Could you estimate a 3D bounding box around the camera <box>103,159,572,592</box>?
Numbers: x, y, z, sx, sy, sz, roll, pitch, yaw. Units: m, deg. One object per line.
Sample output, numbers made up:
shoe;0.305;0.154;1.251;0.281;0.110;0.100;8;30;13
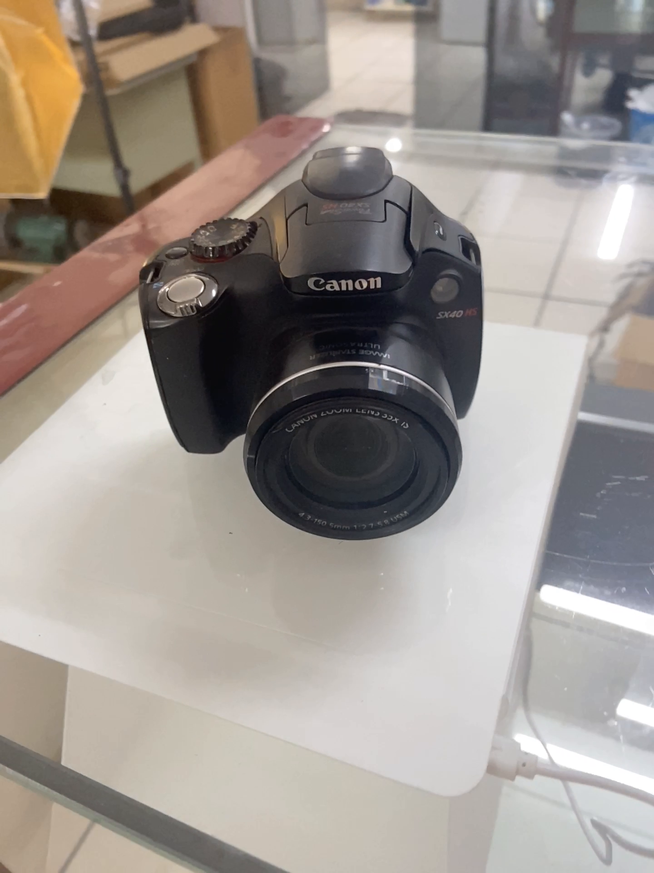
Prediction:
camera;0.003;-0.031;0.257;0.120;0.089;0.141;-4;40;1
